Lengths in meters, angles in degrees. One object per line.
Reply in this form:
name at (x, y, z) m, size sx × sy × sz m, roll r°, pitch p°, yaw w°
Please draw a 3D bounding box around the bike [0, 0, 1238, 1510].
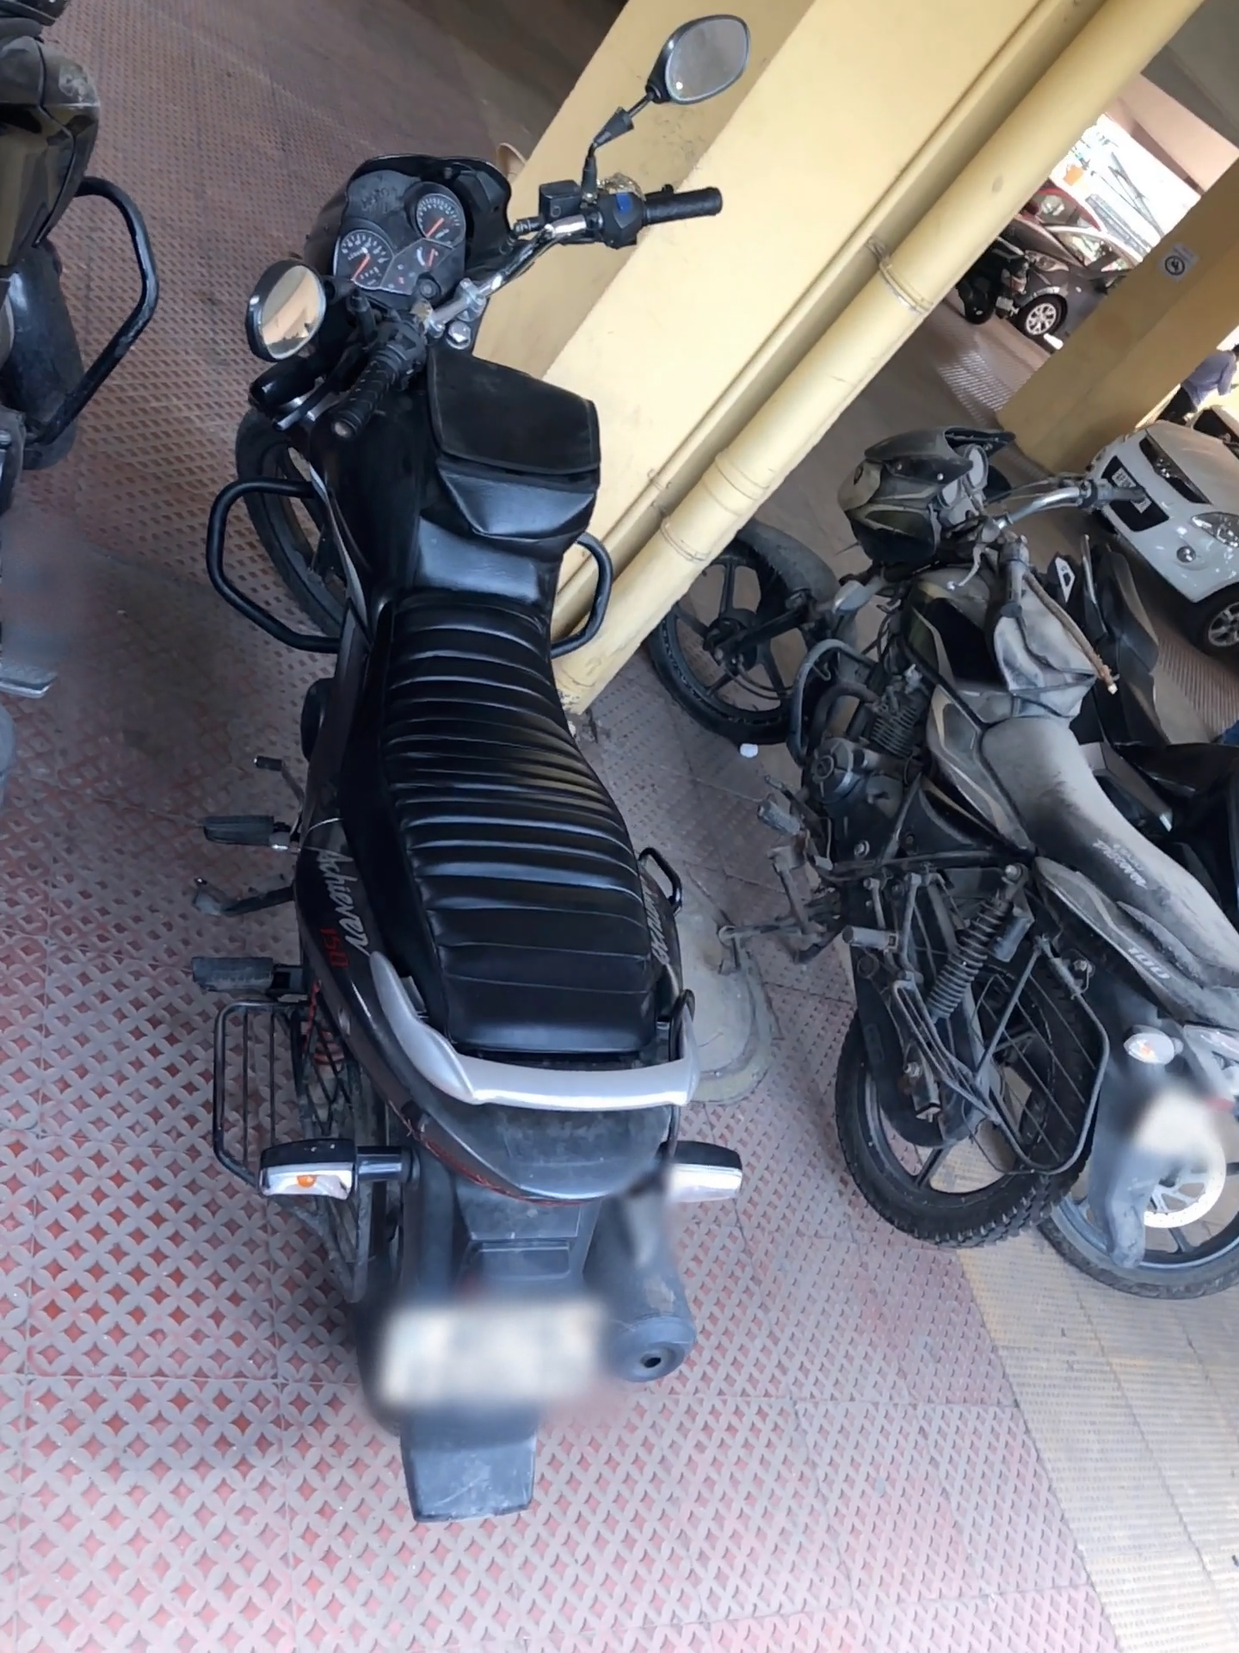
bike at (-0.361, -0.292, 1.701) m, size 0.733 × 1.125 × 1.763 m, roll 16°, pitch 39°, yaw -39°
